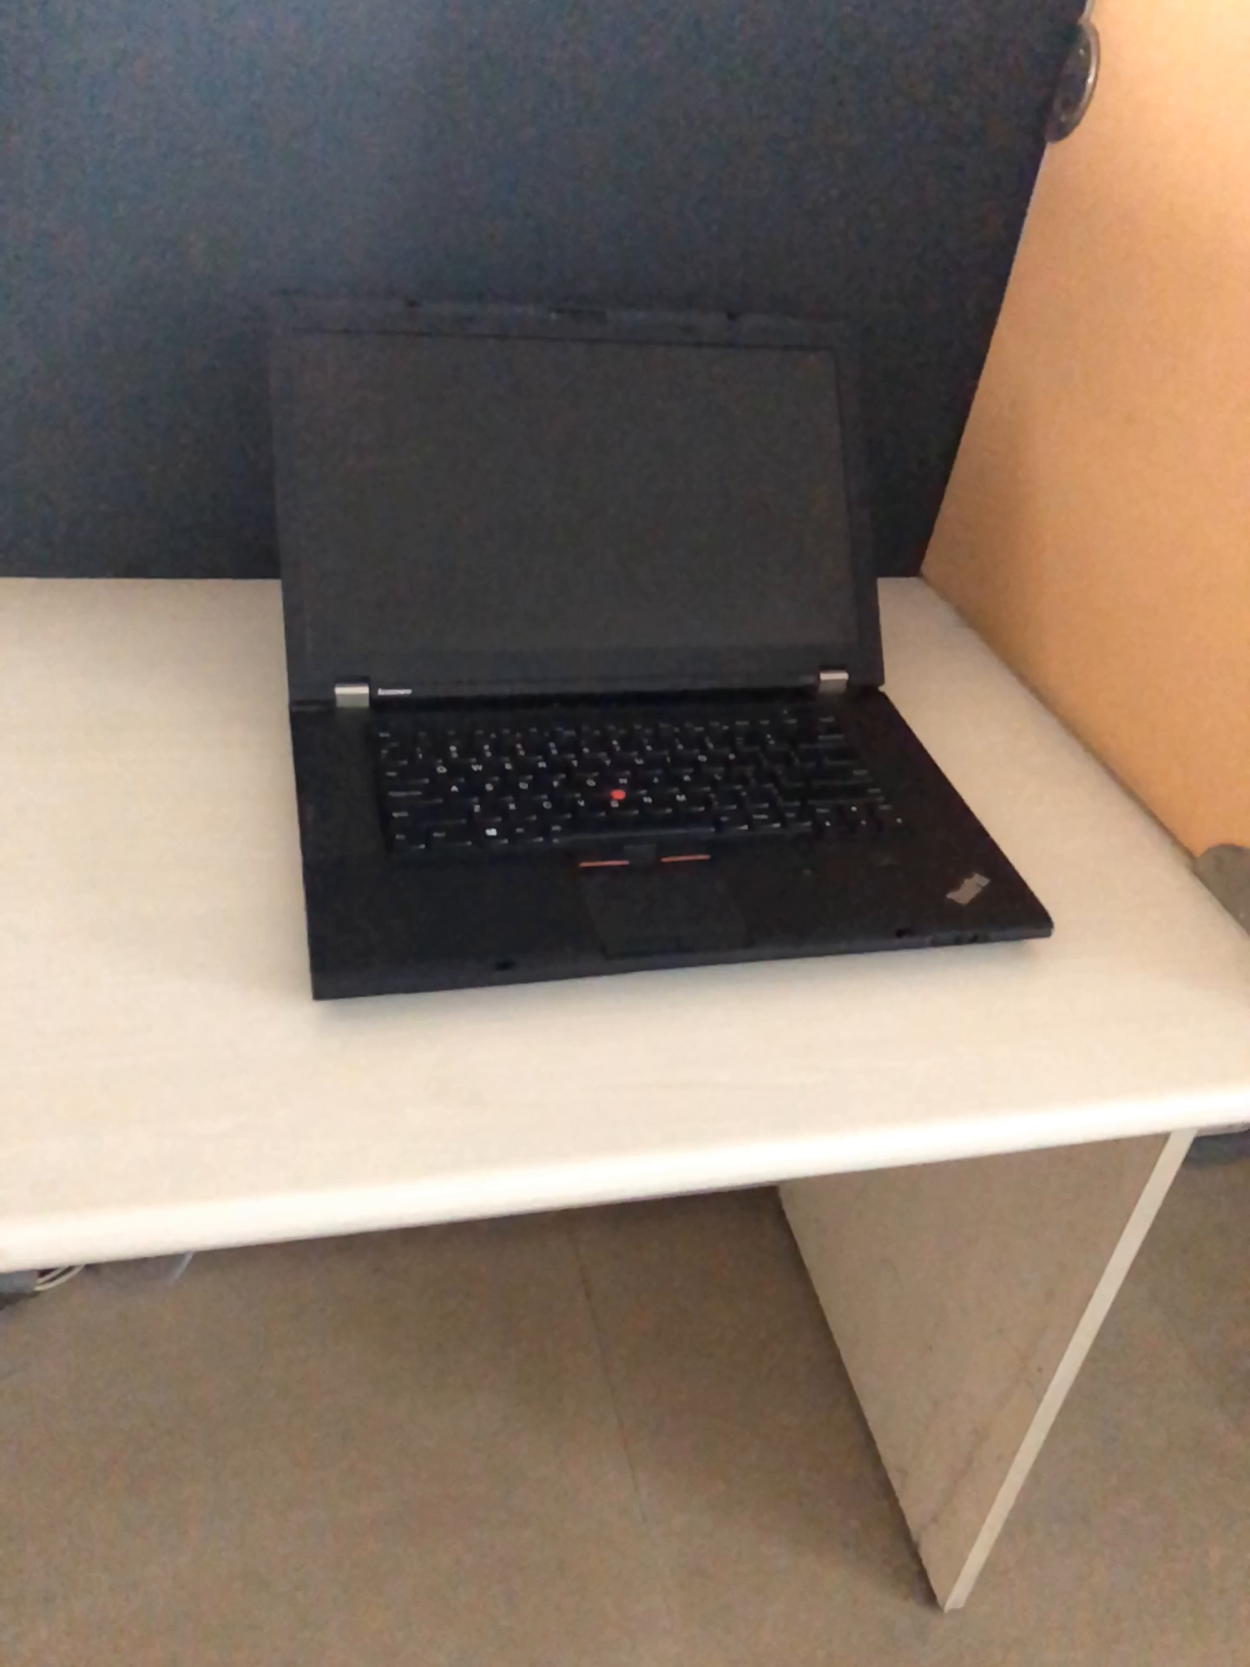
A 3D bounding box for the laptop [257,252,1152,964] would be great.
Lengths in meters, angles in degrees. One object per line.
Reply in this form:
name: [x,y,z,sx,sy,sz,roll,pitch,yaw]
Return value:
laptop: [-0.001,-0.143,0.739,0.354,0.185,0.381,-3,39,-16]
